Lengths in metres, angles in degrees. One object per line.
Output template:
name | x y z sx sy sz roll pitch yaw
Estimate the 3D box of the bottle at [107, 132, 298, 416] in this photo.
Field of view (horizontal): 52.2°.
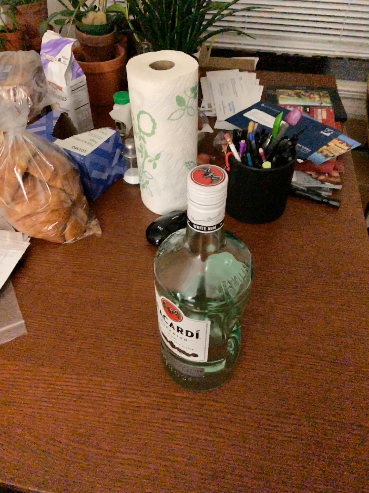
bottle | 0.017 0.056 0.453 0.120 0.328 0.120 0 46 0
